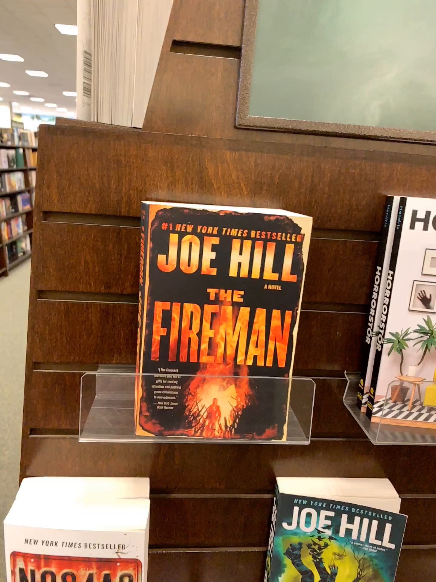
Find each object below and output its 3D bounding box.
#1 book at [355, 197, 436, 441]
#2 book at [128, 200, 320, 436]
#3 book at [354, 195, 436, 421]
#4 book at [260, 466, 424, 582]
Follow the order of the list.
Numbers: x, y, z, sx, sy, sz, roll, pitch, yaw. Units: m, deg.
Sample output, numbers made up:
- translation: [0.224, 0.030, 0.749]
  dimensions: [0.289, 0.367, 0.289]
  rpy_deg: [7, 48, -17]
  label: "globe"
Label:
- translation: [0.239, 0.026, 0.415]
  dimensions: [0.188, 0.208, 0.026]
  rpy_deg: [5, 11, 4]
  label: "book"
- translation: [-0.001, 0.022, 0.404]
  dimensions: [0.146, 0.194, 0.069]
  rpy_deg: [3, 11, -6]
  label: "book"
- translation: [0.248, 0.017, 0.448]
  dimensions: [0.188, 0.208, 0.026]
  rpy_deg: [5, 11, 4]
  label: "book"
- translation: [0.140, 0.330, 0.544]
  dimensions: [0.159, 0.202, 0.062]
  rpy_deg: [5, 11, 4]
  label: "book"
